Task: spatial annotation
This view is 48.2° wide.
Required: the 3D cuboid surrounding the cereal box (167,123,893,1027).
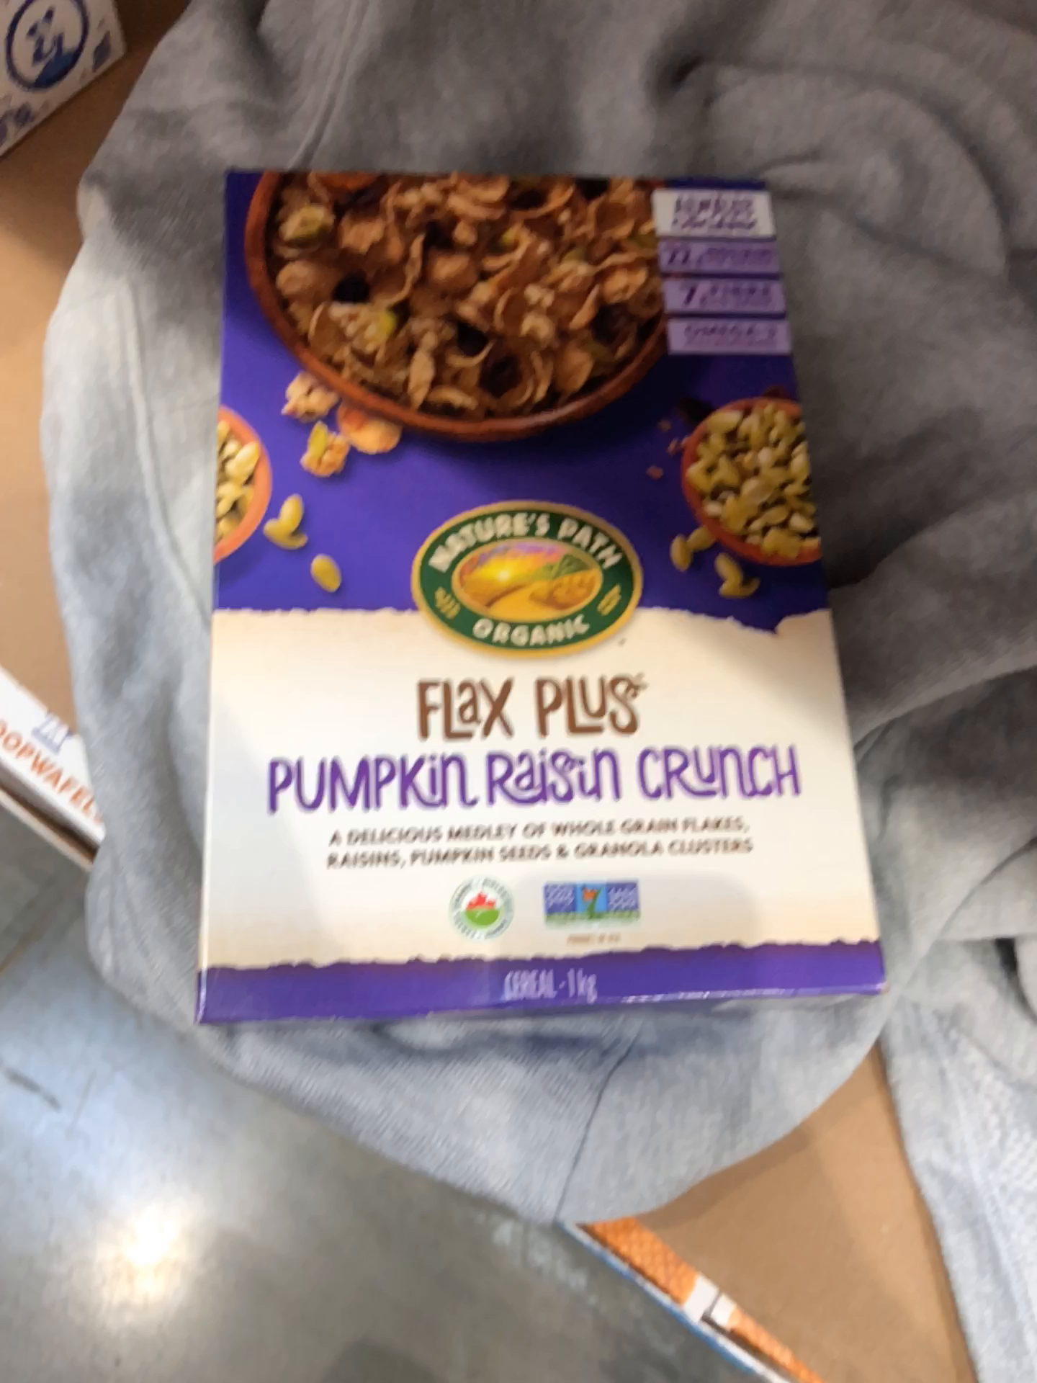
[{"bbox_3d":[-0.005,-0.045,0.424,0.210,0.090,0.310,-1,72,-6],"label":"cereal box"}]
